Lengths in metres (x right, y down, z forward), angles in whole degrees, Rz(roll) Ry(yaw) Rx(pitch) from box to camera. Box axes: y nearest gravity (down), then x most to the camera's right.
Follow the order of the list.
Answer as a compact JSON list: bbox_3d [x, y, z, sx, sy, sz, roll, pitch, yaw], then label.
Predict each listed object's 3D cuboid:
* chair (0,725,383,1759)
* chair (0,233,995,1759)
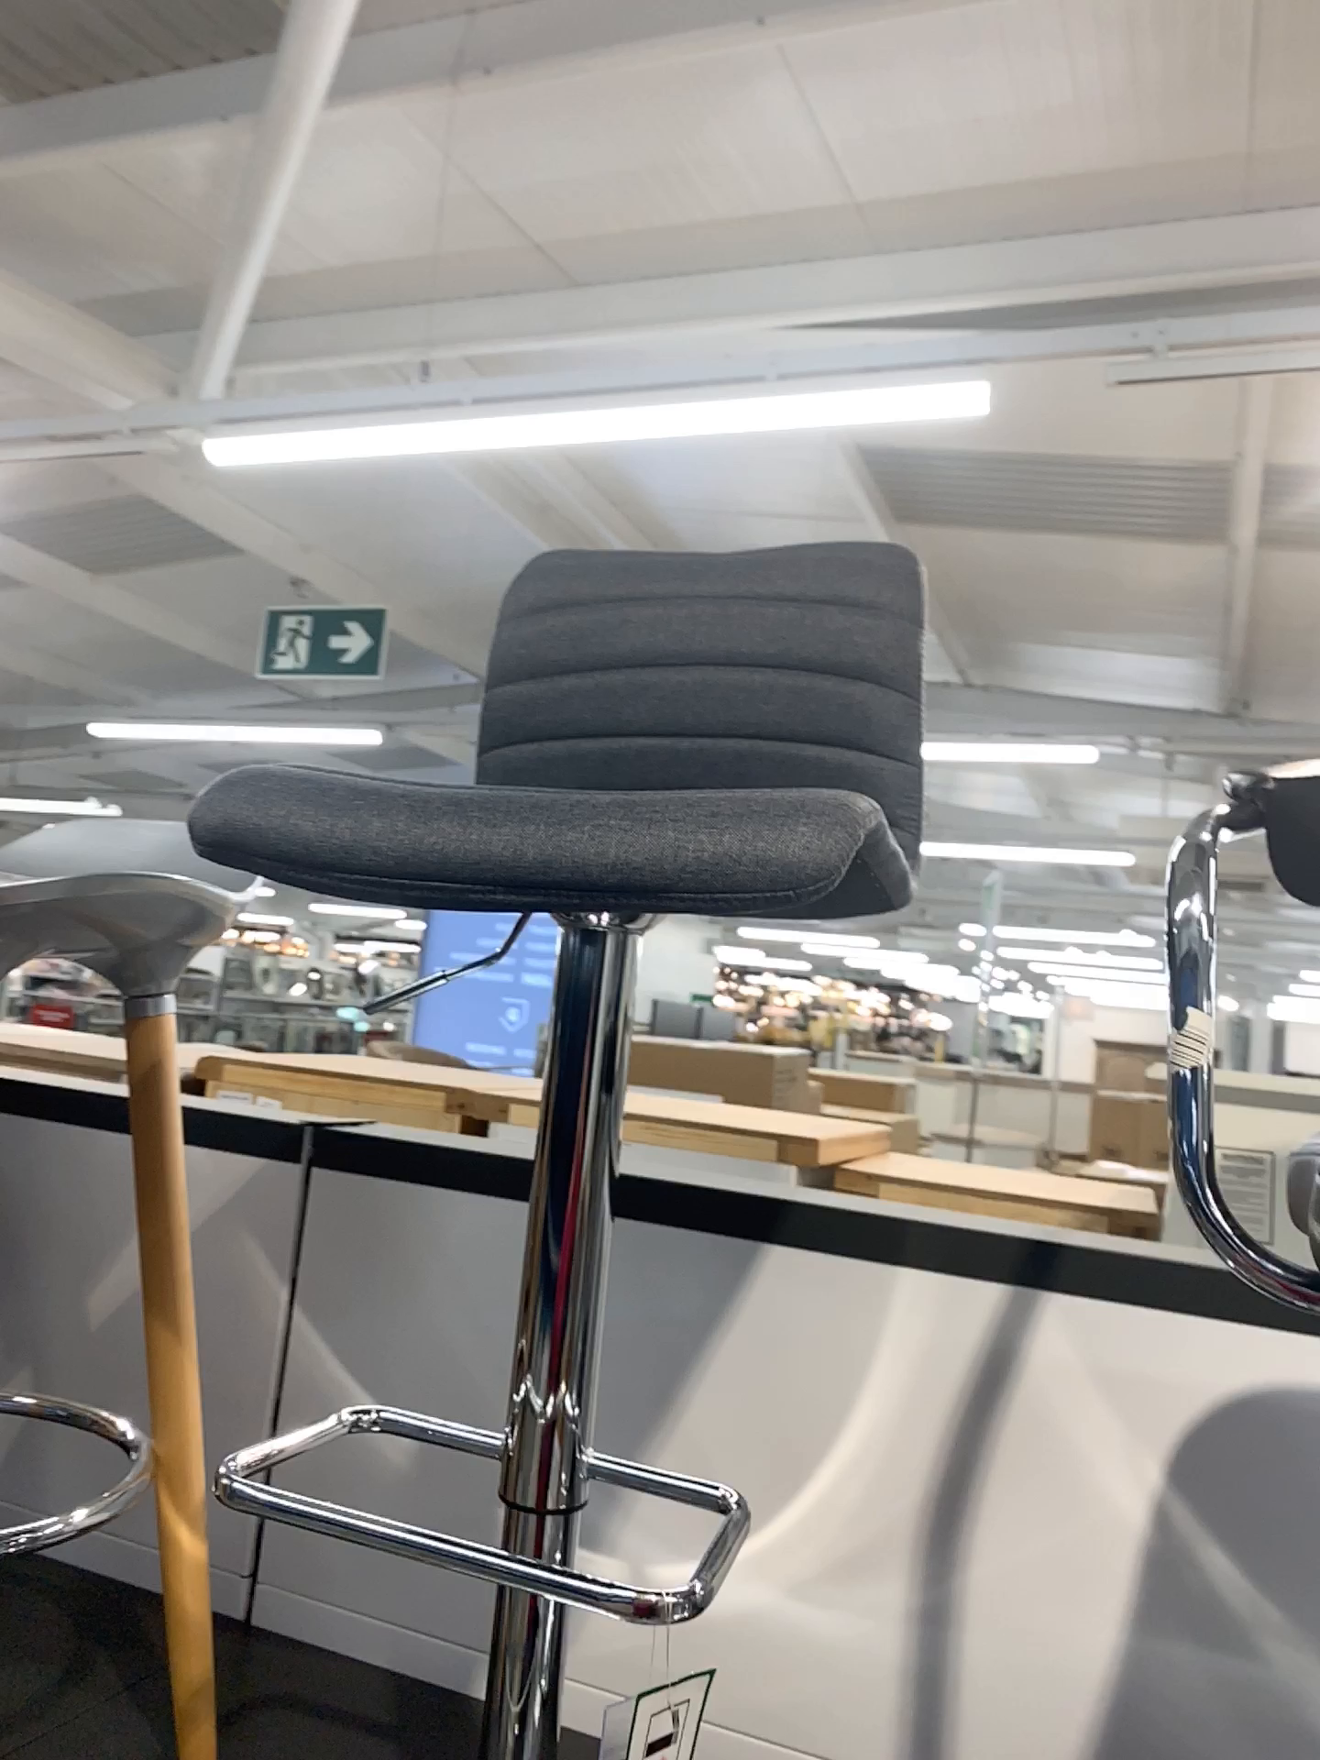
[{"bbox_3d":[-0.560,0.302,1.017,0.445,0.742,0.451,3,-7,18],"label":"chair"},{"bbox_3d":[-0.043,0.184,0.937,0.445,1.033,0.451,3,-8,18],"label":"chair"}]
